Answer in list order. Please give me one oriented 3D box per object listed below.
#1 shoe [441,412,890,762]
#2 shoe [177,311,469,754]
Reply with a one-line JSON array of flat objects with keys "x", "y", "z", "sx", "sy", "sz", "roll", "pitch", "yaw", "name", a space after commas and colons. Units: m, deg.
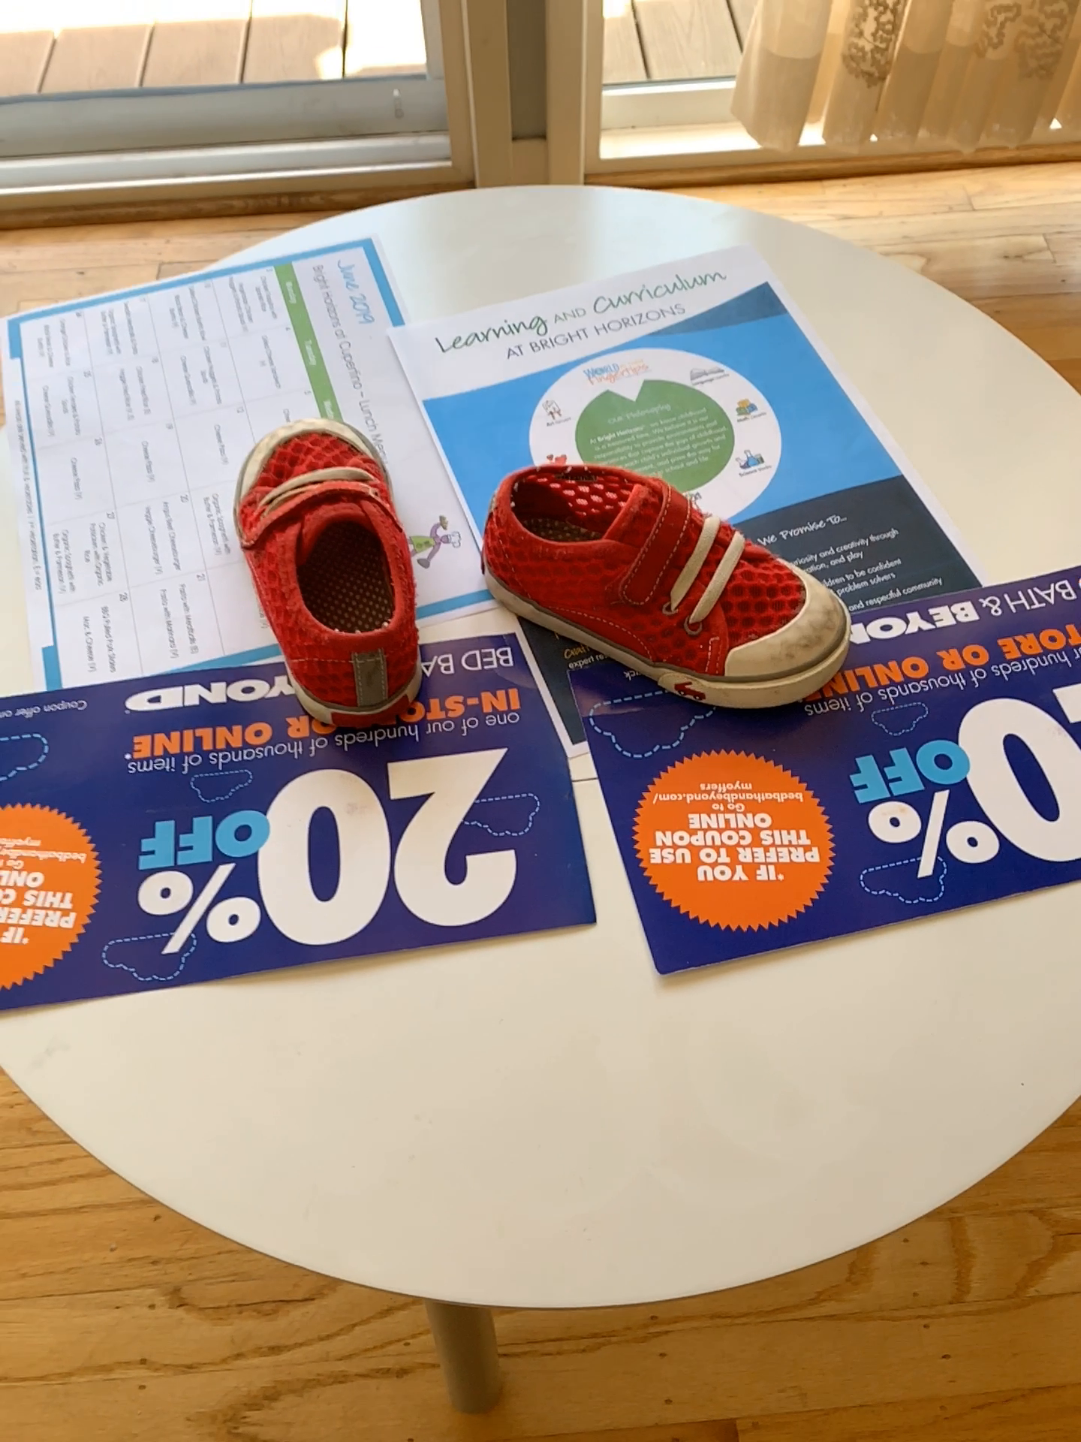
[{"x": 0.055, "y": -0.064, "z": 0.519, "sx": 0.180, "sy": 0.070, "sz": 0.080, "roll": 23, "pitch": 62, "yaw": 14, "name": "shoe"}, {"x": -0.094, "y": -0.084, "z": 0.475, "sx": 0.080, "sy": 0.070, "sz": 0.171, "roll": -15, "pitch": 60, "yaw": -8, "name": "shoe"}]
